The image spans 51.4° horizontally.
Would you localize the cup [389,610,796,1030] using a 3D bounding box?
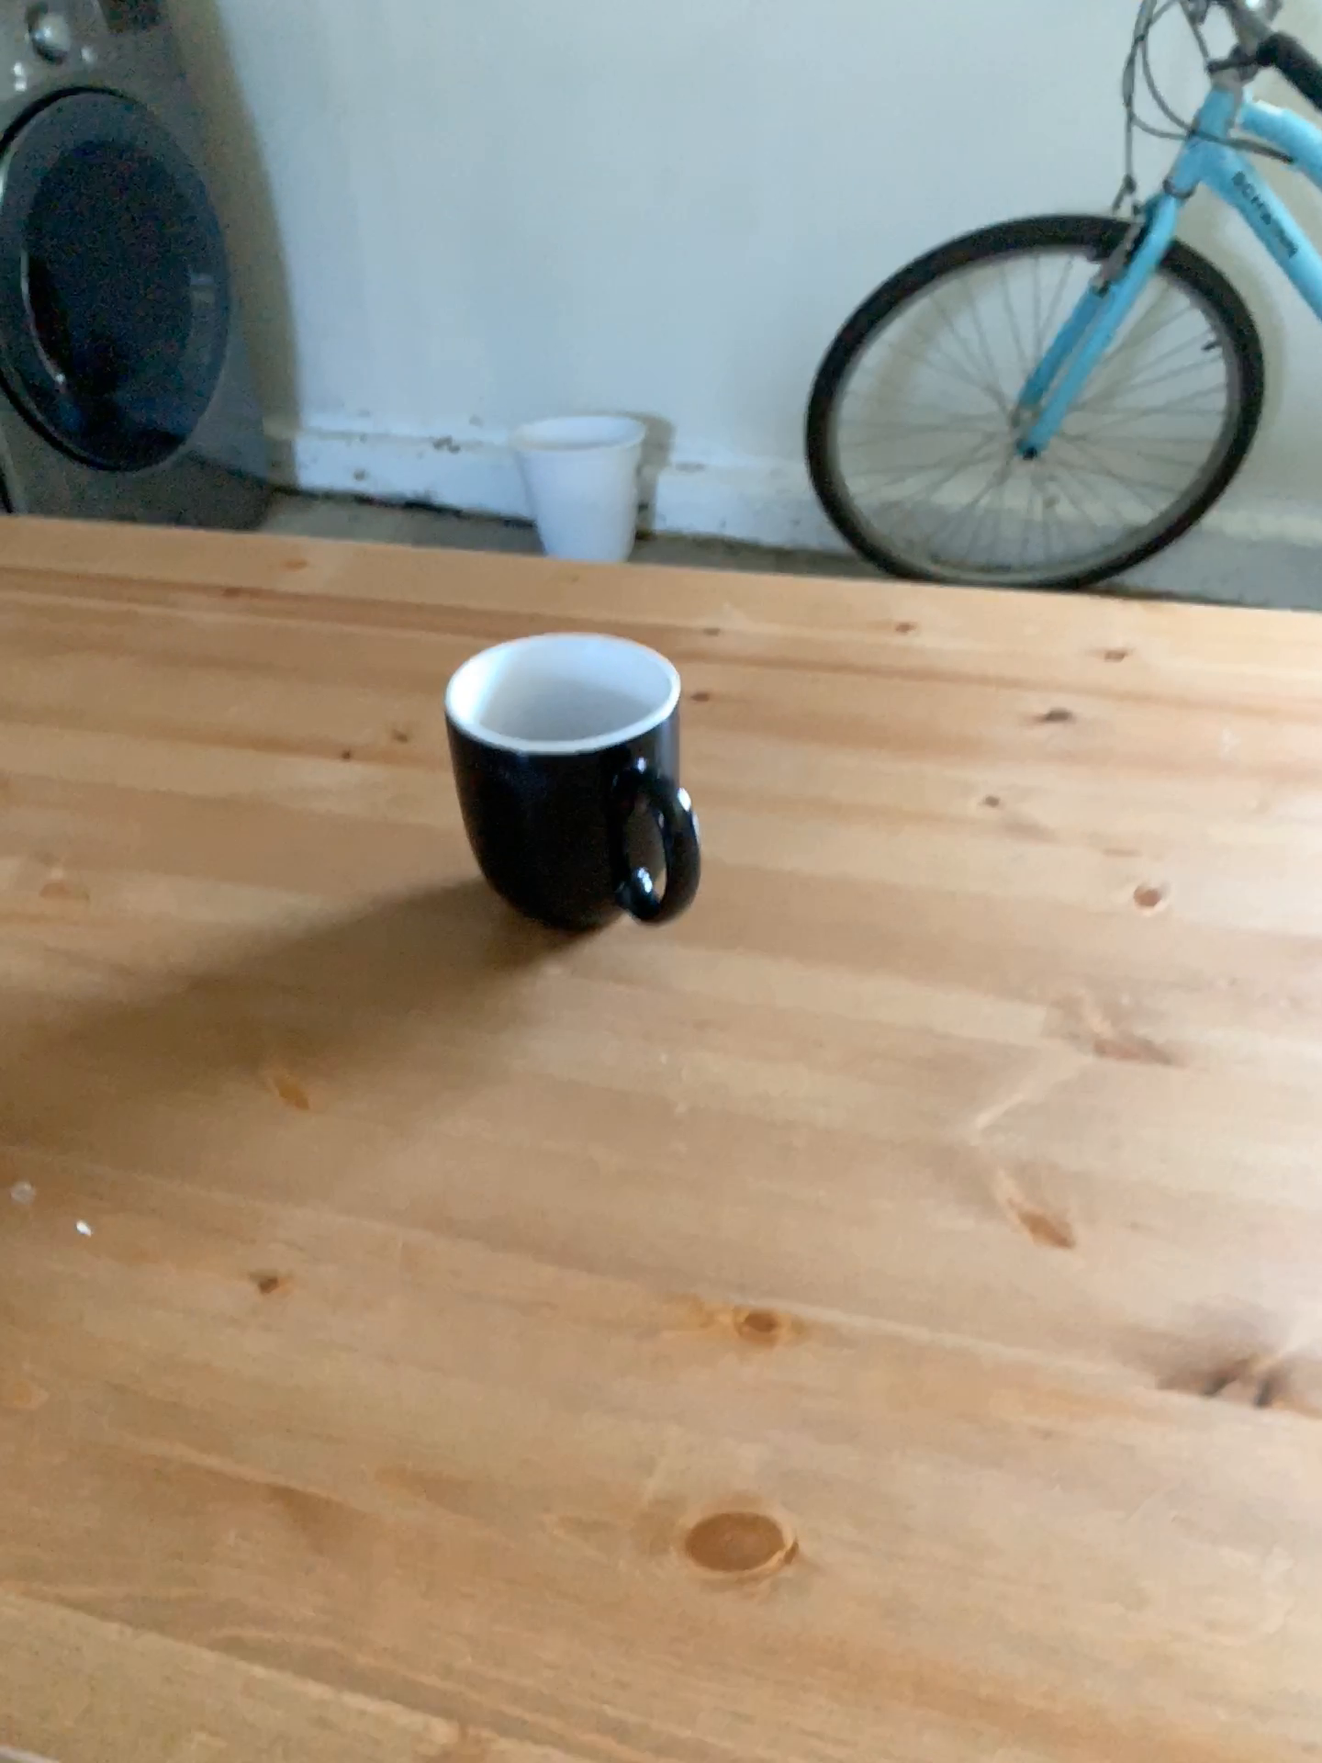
[{"bbox_3d":[-0.028,-0.032,0.589,0.100,0.100,0.141,-30,45,-30],"label":"cup"}]
